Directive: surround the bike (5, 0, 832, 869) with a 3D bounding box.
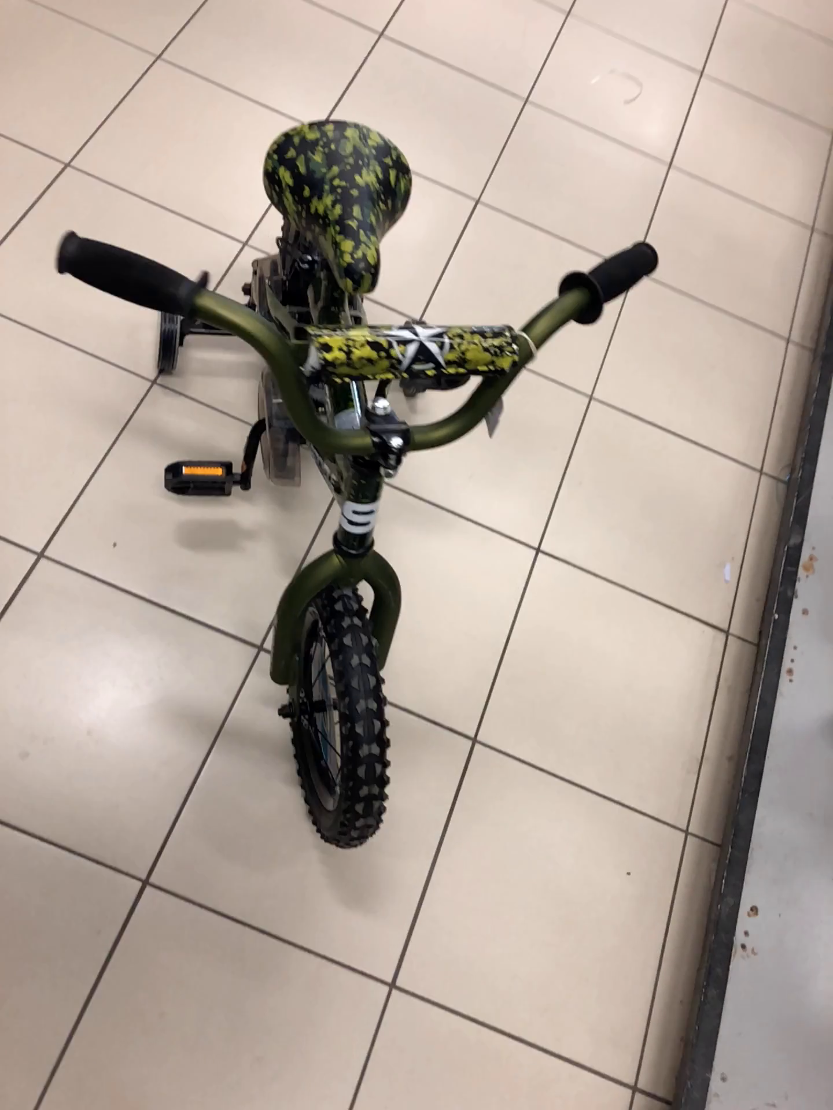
[{"bbox_3d":[-0.063,-0.157,0.936,0.533,0.557,0.818,-2,63,-15],"label":"bike"}]
